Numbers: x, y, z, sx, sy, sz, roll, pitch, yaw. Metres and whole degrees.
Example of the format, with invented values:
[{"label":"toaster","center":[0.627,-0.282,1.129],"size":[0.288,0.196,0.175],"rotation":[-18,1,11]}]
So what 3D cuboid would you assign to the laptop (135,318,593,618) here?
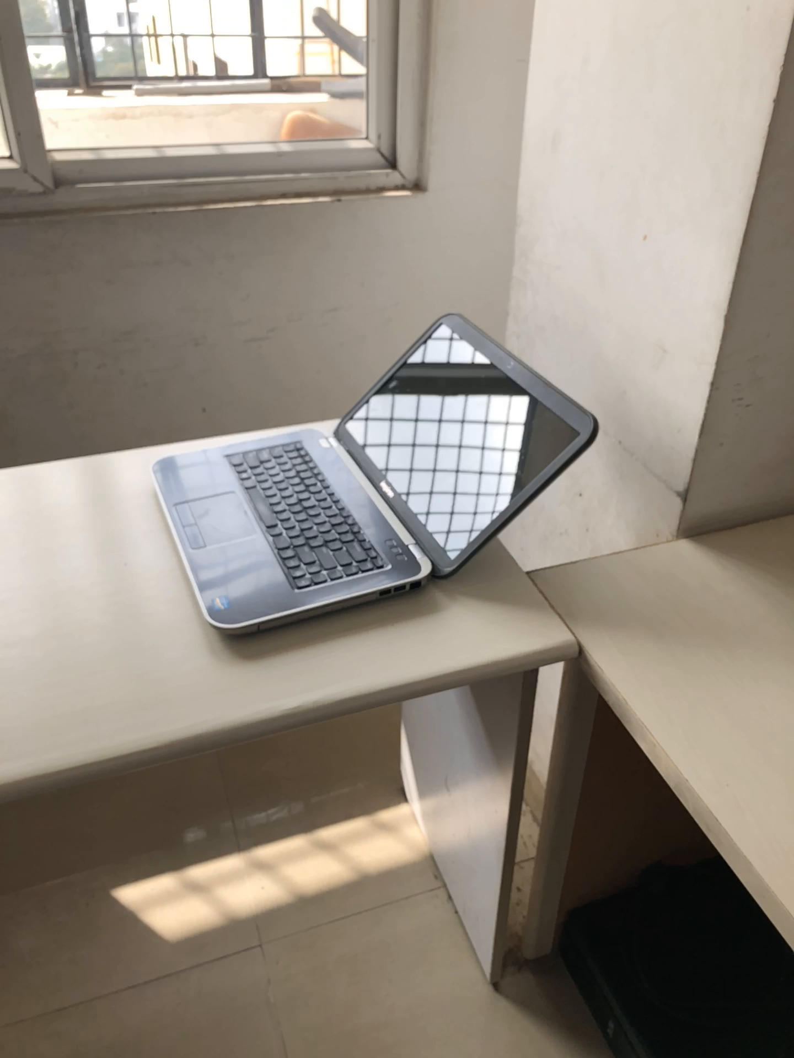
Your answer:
[{"label":"laptop","center":[-0.055,-0.098,1.029],"size":[0.406,0.145,0.343],"rotation":[-12,36,-20]}]
